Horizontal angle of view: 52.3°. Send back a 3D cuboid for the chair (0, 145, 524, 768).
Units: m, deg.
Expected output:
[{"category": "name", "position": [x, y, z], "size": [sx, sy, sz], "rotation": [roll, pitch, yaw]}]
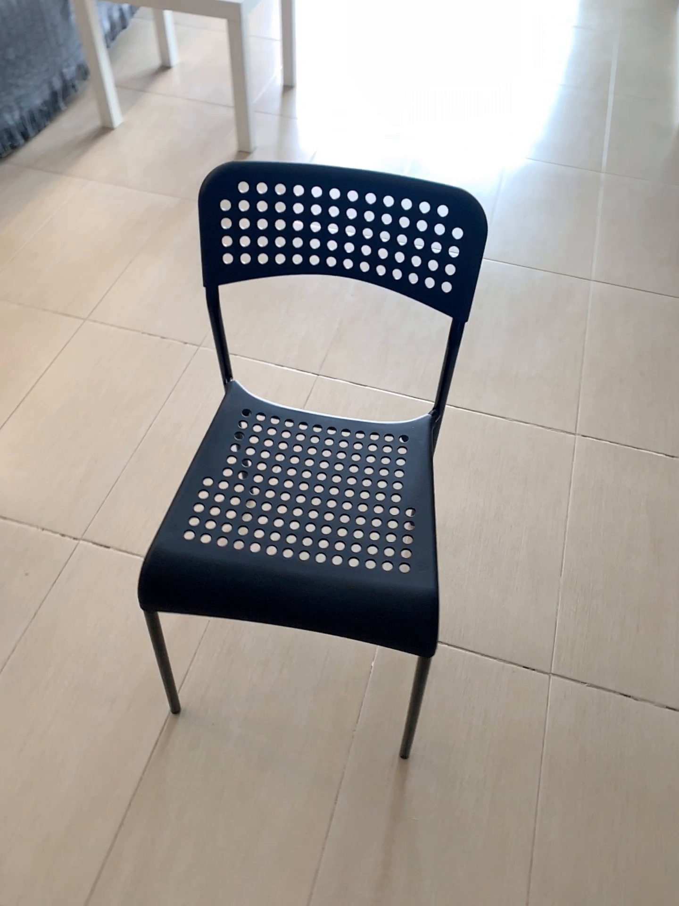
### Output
[{"category": "chair", "position": [-0.040, 0.052, 0.963], "size": [0.420, 0.687, 0.492], "rotation": [9, 52, 4]}]
